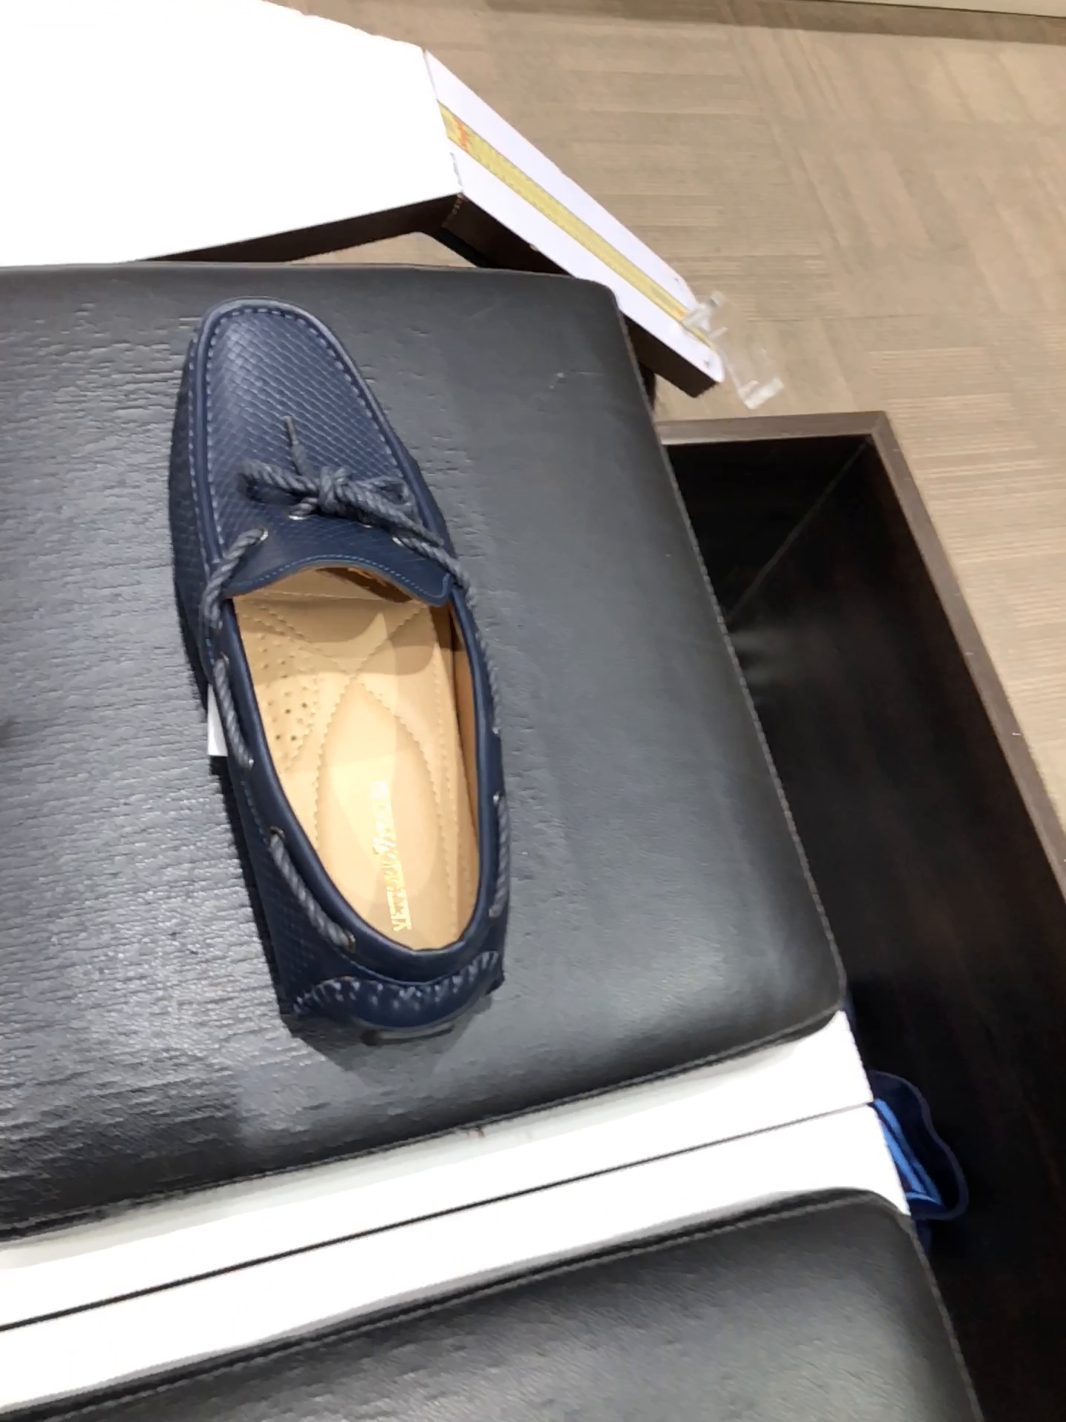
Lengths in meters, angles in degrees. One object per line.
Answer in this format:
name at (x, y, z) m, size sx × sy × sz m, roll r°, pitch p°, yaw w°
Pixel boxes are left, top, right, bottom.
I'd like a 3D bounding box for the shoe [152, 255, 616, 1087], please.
shoe at (-0.063, -0.024, 0.406) m, size 0.100 × 0.080 × 0.271 m, roll -7°, pitch 68°, yaw -17°
